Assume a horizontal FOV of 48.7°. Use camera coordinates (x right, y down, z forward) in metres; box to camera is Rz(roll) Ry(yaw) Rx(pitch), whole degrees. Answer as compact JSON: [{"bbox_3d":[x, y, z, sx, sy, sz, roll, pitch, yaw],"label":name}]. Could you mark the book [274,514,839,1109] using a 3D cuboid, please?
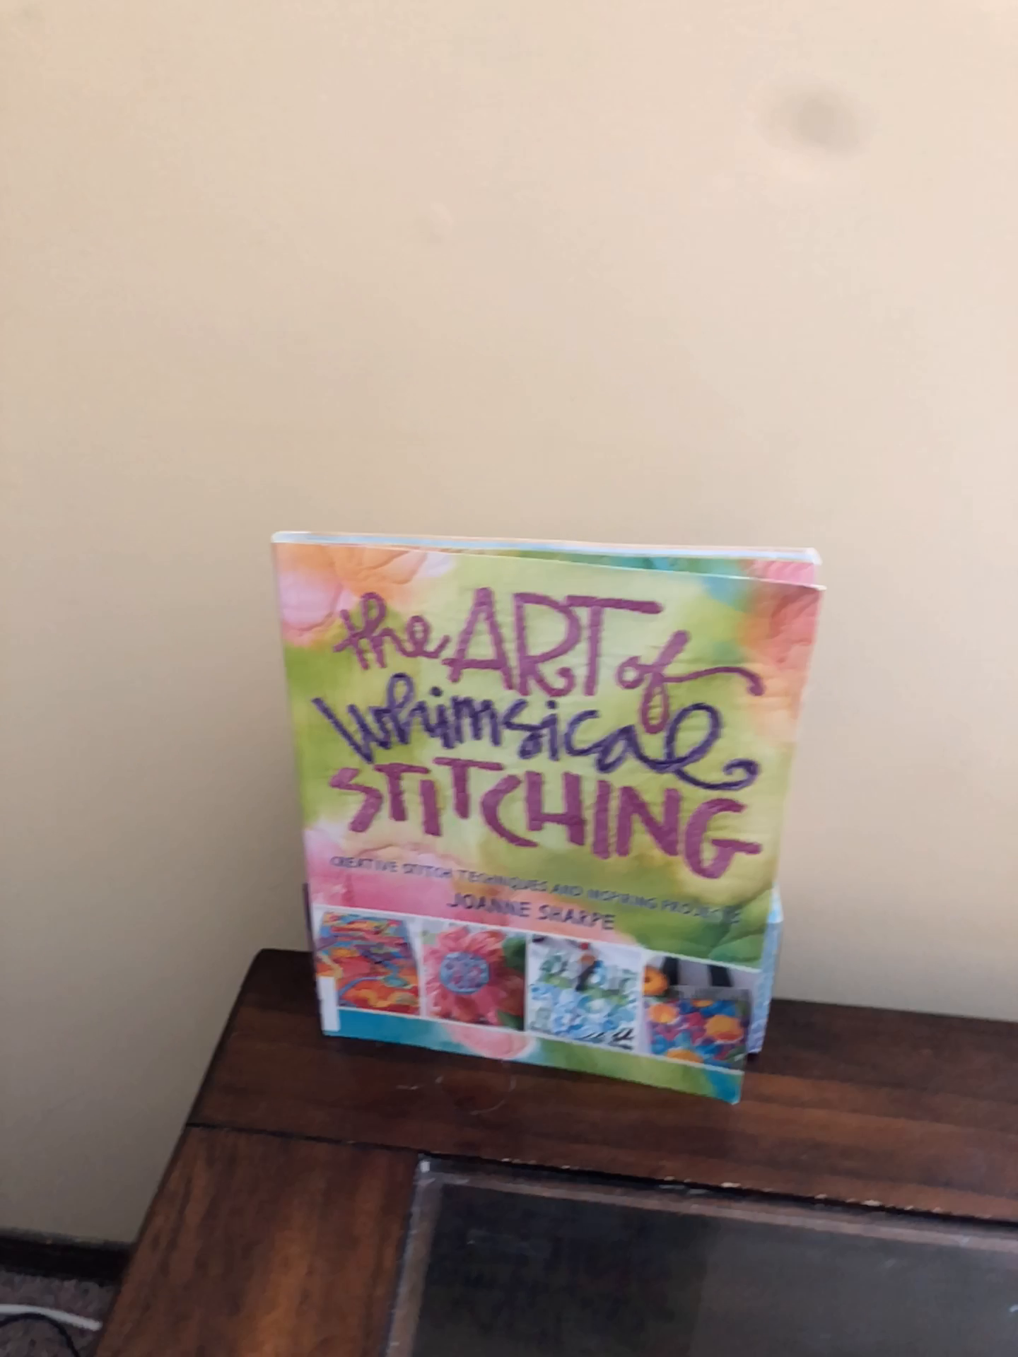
[{"bbox_3d":[0.014,0.066,0.493,0.214,0.263,0.029,6,28,9],"label":"book"}]
